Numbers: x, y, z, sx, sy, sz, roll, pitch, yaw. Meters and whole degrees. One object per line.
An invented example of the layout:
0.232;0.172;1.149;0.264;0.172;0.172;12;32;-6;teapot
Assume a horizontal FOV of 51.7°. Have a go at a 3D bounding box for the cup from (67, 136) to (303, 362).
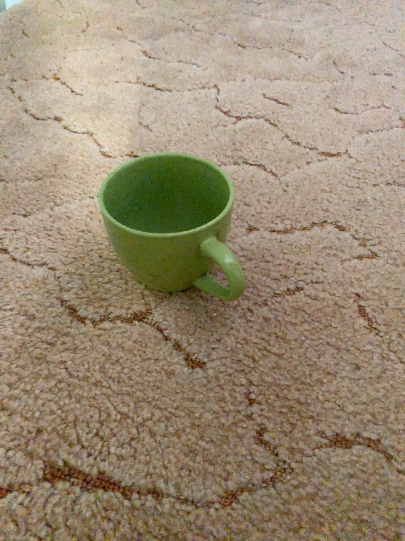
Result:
-0.016;-0.022;0.273;0.090;0.060;0.121;-26;54;-26;cup
